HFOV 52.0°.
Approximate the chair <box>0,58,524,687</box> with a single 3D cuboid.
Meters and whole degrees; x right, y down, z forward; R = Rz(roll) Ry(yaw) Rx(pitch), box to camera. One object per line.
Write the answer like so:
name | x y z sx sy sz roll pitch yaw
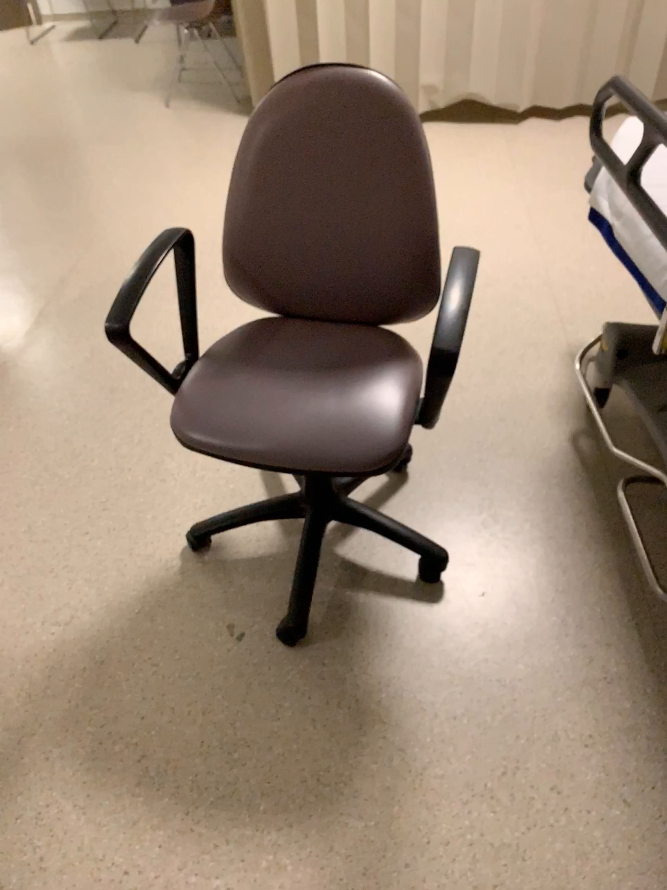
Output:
chair | -0.055 -0.155 1.324 0.651 0.881 0.716 9 44 14
